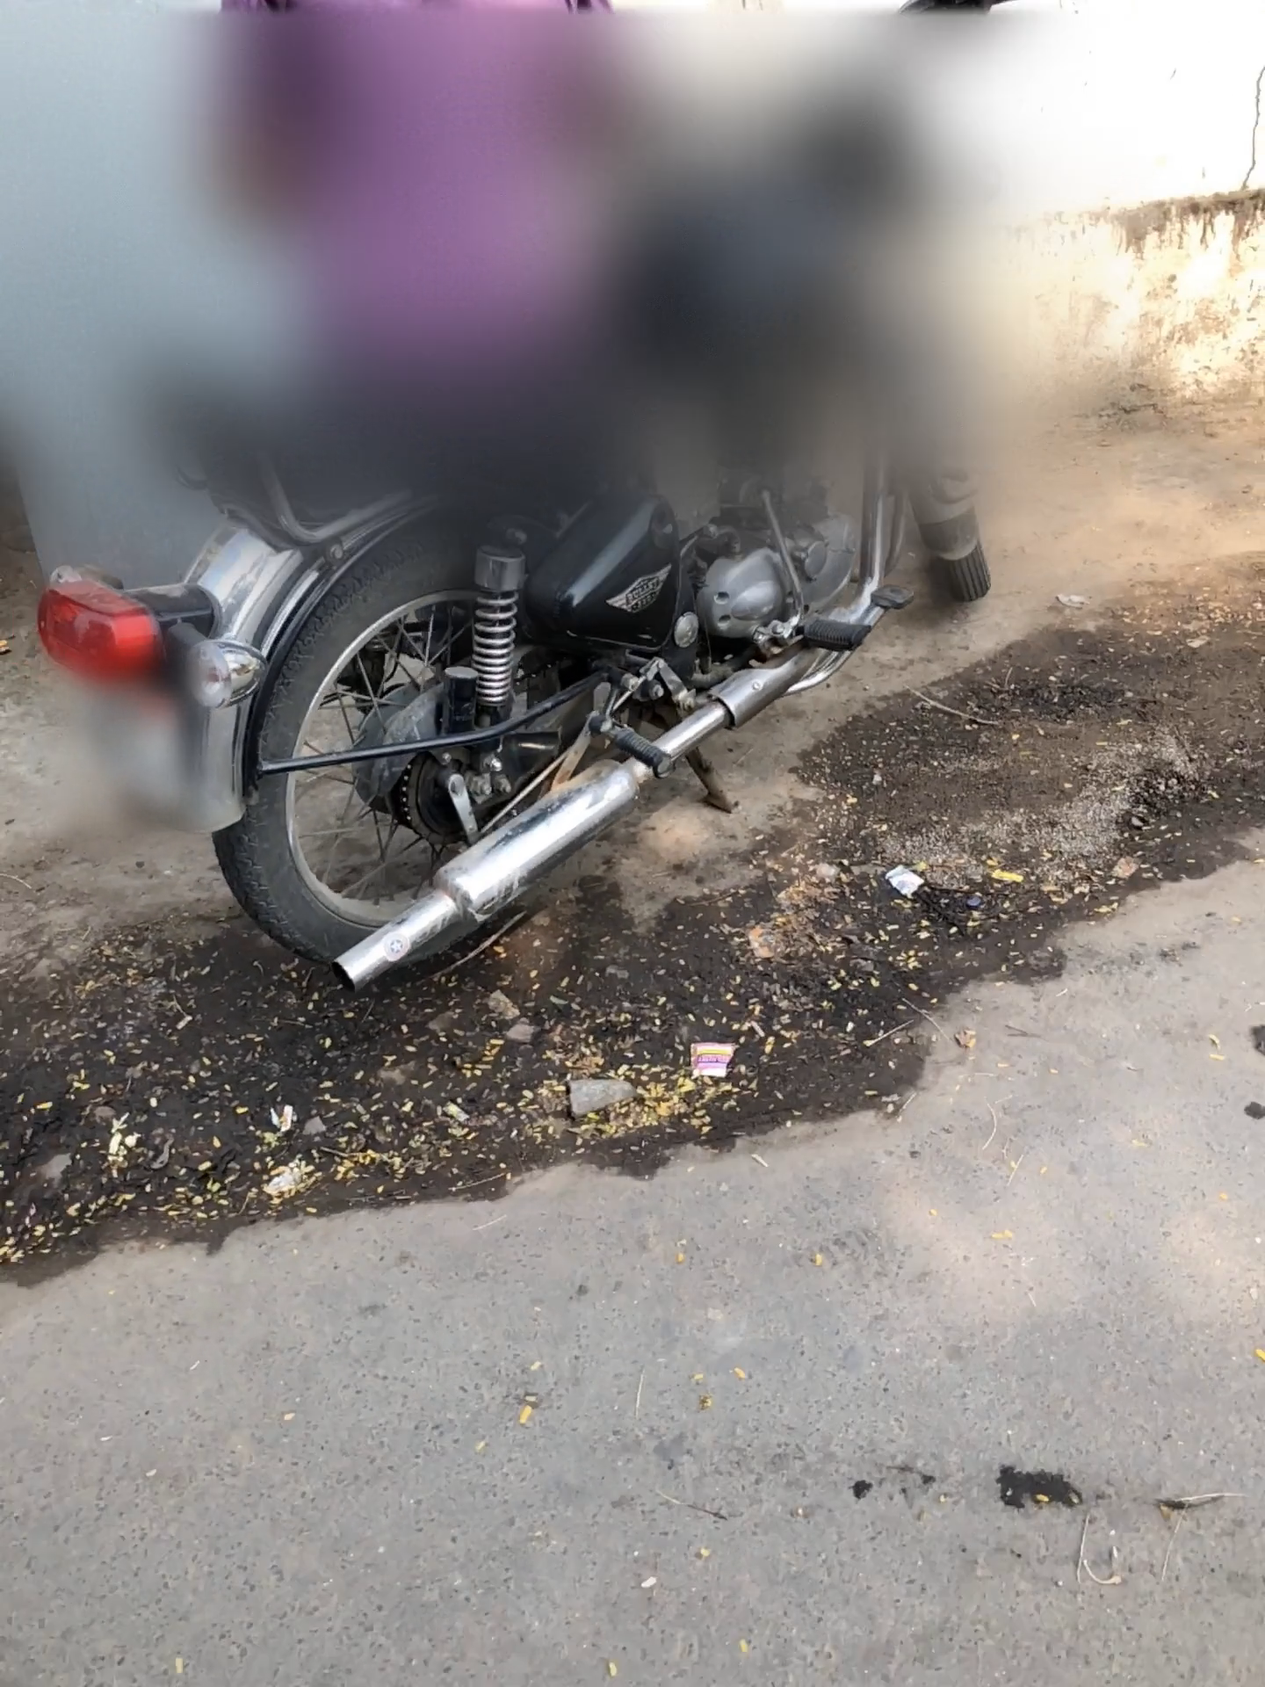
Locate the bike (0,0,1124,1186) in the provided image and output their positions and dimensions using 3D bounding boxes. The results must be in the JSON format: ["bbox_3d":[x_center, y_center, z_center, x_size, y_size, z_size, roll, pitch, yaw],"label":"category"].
[{"bbox_3d":[0.001,-0.719,2.275,0.839,1.173,1.930,21,46,33],"label":"bike"}]
